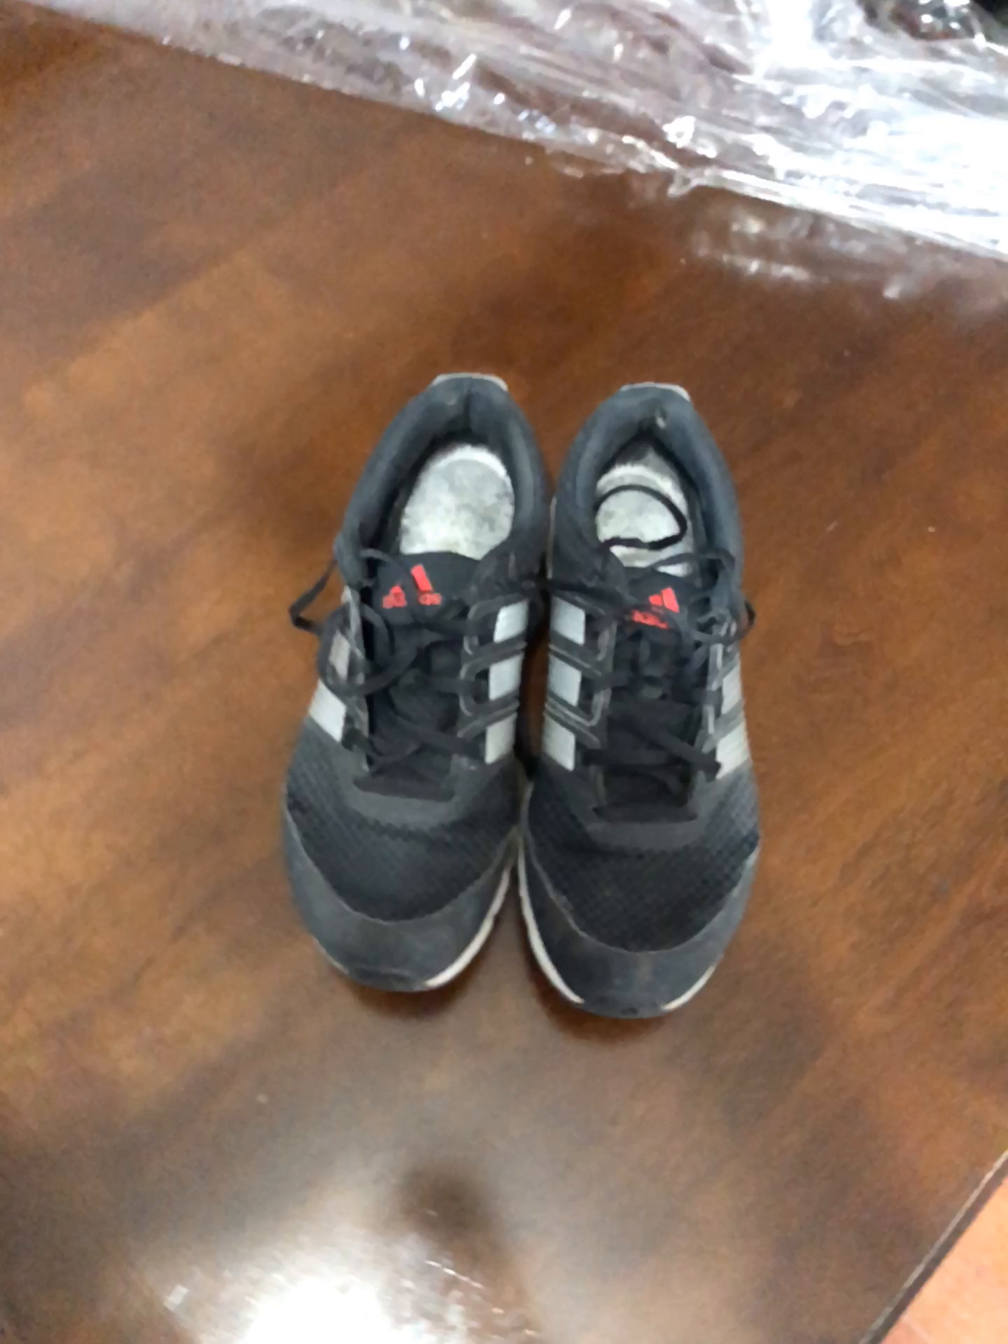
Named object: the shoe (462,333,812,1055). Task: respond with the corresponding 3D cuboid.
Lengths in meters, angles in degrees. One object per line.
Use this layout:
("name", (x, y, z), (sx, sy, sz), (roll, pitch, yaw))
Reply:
("shoe", (0.061, 0.009, 0.515), (0.120, 0.130, 0.290), (7, 65, 2))

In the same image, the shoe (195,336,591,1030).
("shoe", (-0.038, 0.003, 0.529), (0.120, 0.120, 0.290), (7, 65, 2))
